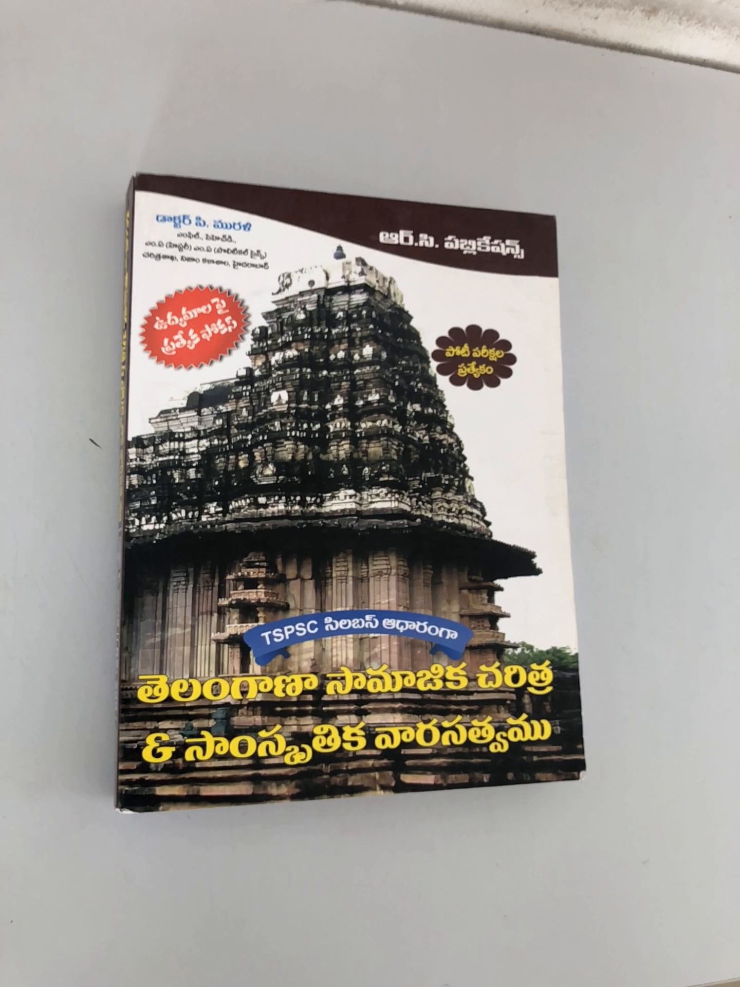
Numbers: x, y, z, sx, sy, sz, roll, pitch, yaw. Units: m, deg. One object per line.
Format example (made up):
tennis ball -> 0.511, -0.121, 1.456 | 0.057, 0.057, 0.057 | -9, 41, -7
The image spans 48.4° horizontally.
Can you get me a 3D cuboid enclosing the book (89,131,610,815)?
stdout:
book -> -0.007, -0.010, 0.315 | 0.180, 0.040, 0.230 | 1, 80, -15
